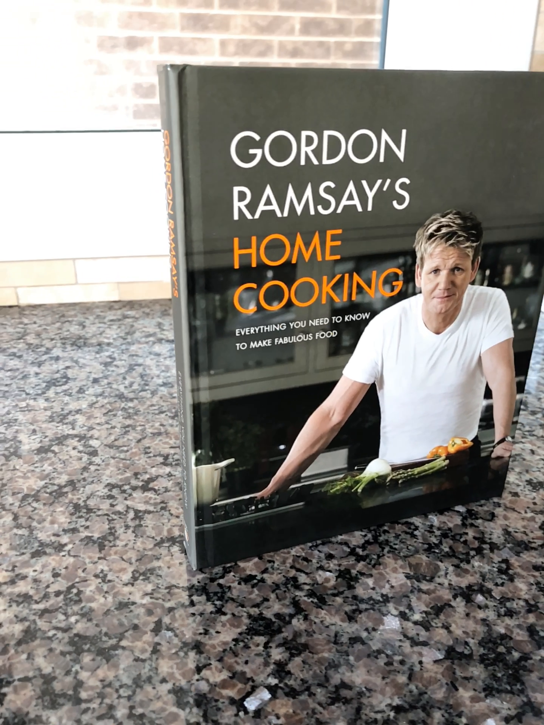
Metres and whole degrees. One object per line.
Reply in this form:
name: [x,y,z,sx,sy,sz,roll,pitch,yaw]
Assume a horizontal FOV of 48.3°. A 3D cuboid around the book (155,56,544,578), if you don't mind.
book: [0.056,-0.019,0.333,0.217,0.261,0.028,-8,25,-19]
